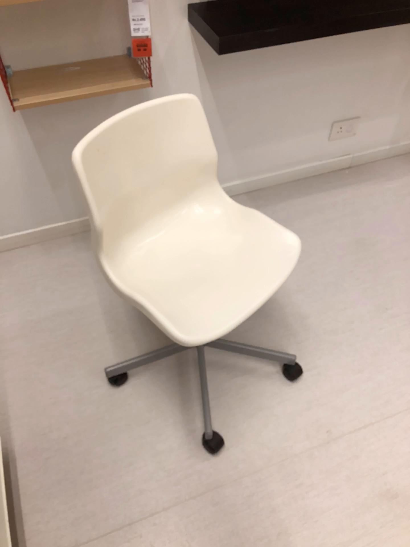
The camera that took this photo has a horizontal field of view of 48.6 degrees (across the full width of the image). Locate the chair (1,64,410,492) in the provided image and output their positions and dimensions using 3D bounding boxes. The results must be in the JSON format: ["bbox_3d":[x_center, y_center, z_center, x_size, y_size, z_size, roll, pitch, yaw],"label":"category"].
[{"bbox_3d":[0.021,0.000,1.186,0.622,0.686,0.622,37,58,26],"label":"chair"}]
